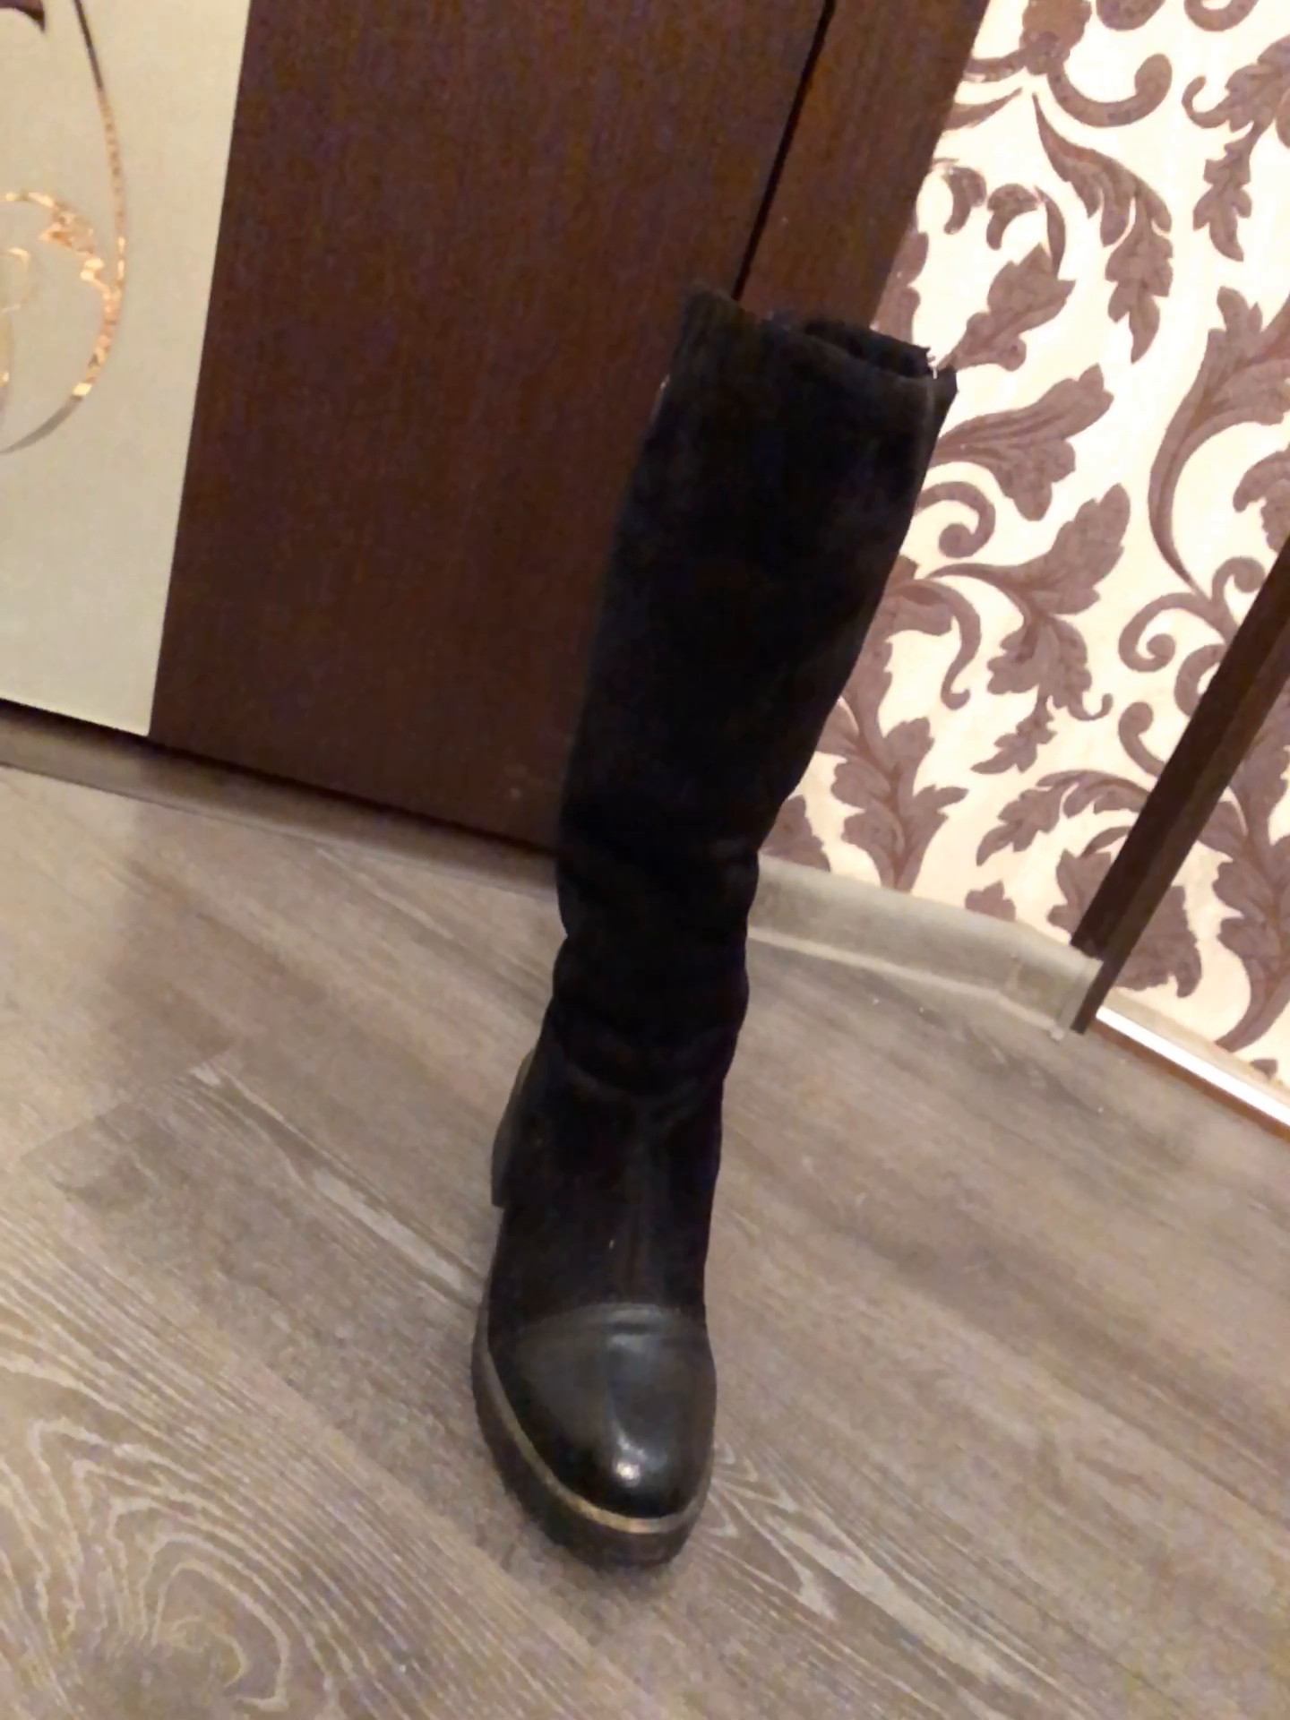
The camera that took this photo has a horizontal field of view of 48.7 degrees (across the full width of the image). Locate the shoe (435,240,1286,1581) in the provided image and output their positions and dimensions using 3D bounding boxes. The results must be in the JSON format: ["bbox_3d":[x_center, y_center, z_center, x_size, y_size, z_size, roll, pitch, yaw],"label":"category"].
[{"bbox_3d":[0.023,0.022,0.520,0.100,0.407,0.251,10,30,-17],"label":"shoe"}]
